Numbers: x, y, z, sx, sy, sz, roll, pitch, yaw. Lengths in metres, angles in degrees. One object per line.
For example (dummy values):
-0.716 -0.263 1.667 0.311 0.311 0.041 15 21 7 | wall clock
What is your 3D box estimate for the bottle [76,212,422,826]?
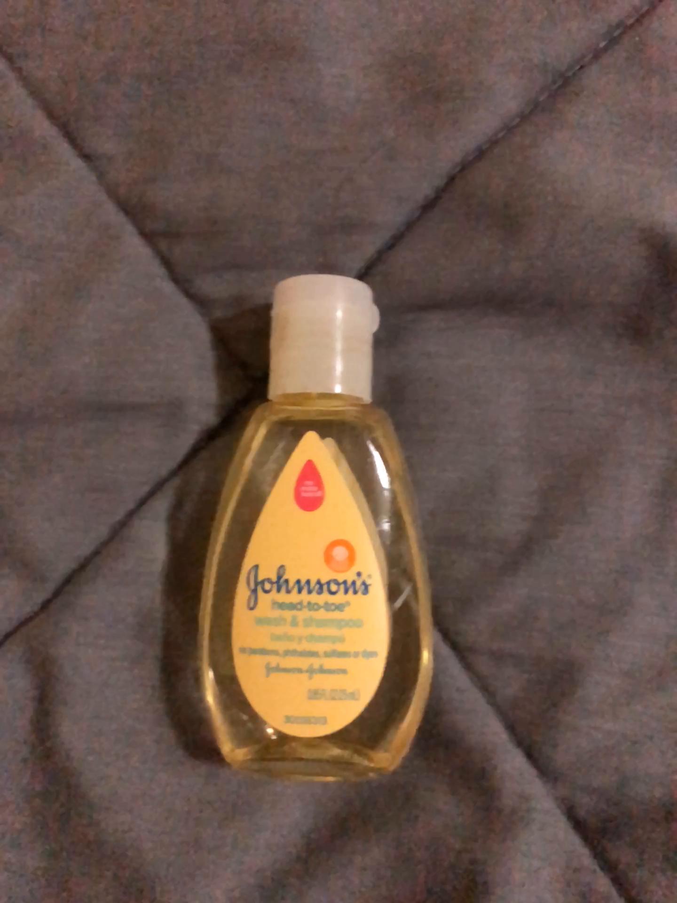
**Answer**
-0.012 0.009 0.126 0.050 0.020 0.090 0 82 7 | bottle
